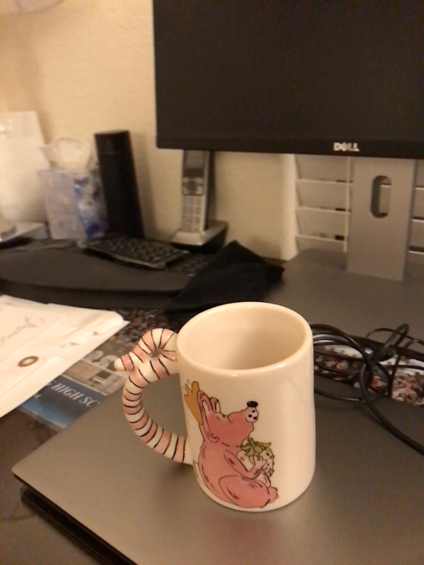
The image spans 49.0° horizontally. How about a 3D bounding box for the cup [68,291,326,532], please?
[{"bbox_3d":[0.000,0.070,0.285,0.130,0.099,0.081,2,24,16],"label":"cup"}]
